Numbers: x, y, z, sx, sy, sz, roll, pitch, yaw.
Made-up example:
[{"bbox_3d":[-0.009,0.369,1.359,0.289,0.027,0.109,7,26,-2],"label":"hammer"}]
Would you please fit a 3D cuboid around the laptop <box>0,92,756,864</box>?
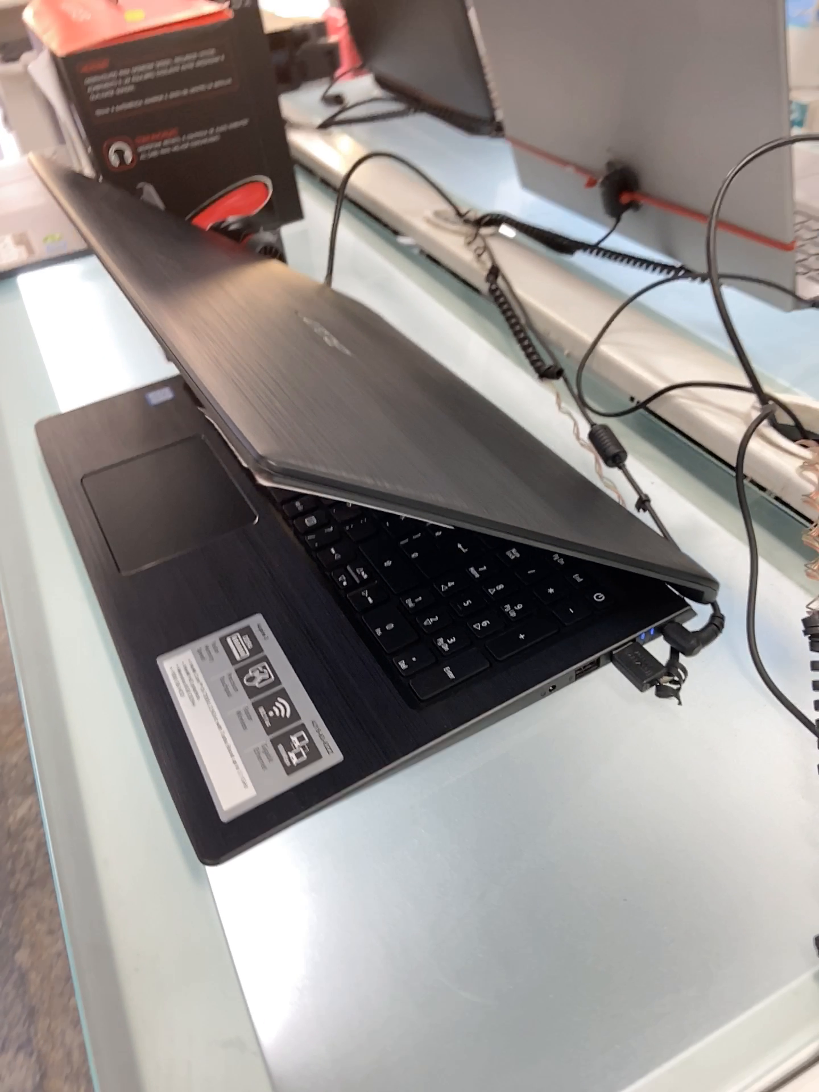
[{"bbox_3d":[-0.068,-0.086,0.430,0.239,0.157,0.372,-24,44,-17],"label":"laptop"}]
